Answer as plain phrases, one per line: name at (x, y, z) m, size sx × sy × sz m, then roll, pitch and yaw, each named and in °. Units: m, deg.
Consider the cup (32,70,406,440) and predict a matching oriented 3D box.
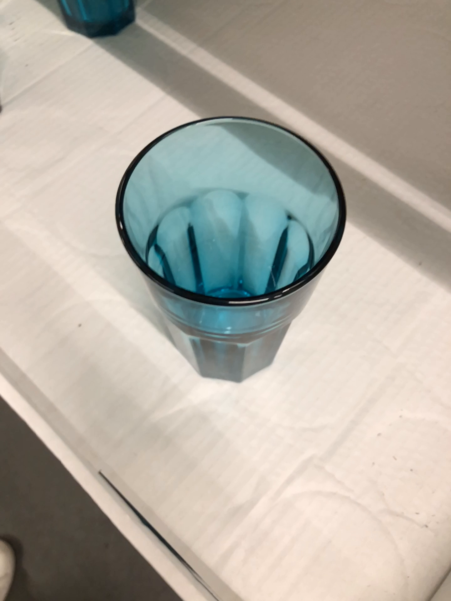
cup at (-0.003, -0.012, 0.219) m, size 0.092 × 0.102 × 0.089 m, roll 0°, pitch 67°, yaw 1°
